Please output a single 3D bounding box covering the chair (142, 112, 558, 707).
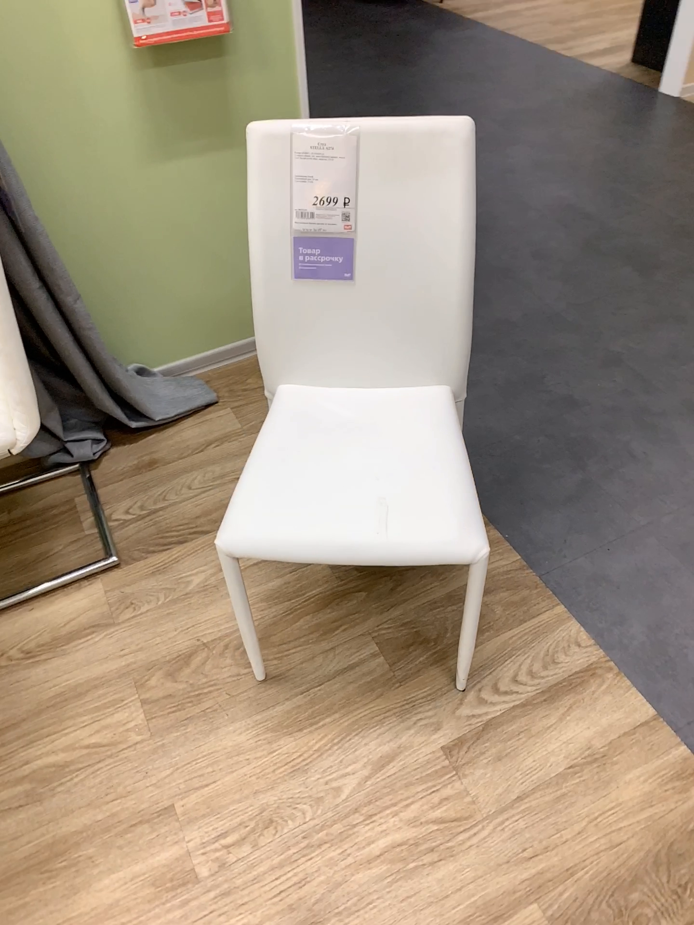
[{"bbox_3d":[0.034,-0.046,1.287,0.450,0.925,0.553,1,45,4],"label":"chair"}]

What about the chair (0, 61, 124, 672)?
[{"bbox_3d":[-0.877,-0.139,1.357,0.561,0.945,0.452,-21,47,-17],"label":"chair"}]
